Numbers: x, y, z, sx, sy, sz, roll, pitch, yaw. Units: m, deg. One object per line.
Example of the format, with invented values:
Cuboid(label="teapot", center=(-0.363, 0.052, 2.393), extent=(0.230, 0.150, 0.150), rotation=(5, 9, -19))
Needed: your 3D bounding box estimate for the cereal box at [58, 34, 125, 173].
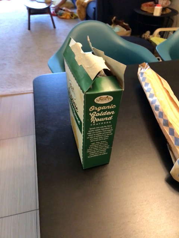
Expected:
Cuboid(label="cereal box", center=(-0.007, -0.030, 0.436), extent=(0.080, 0.248, 0.171), rotation=(-10, 43, -11))
